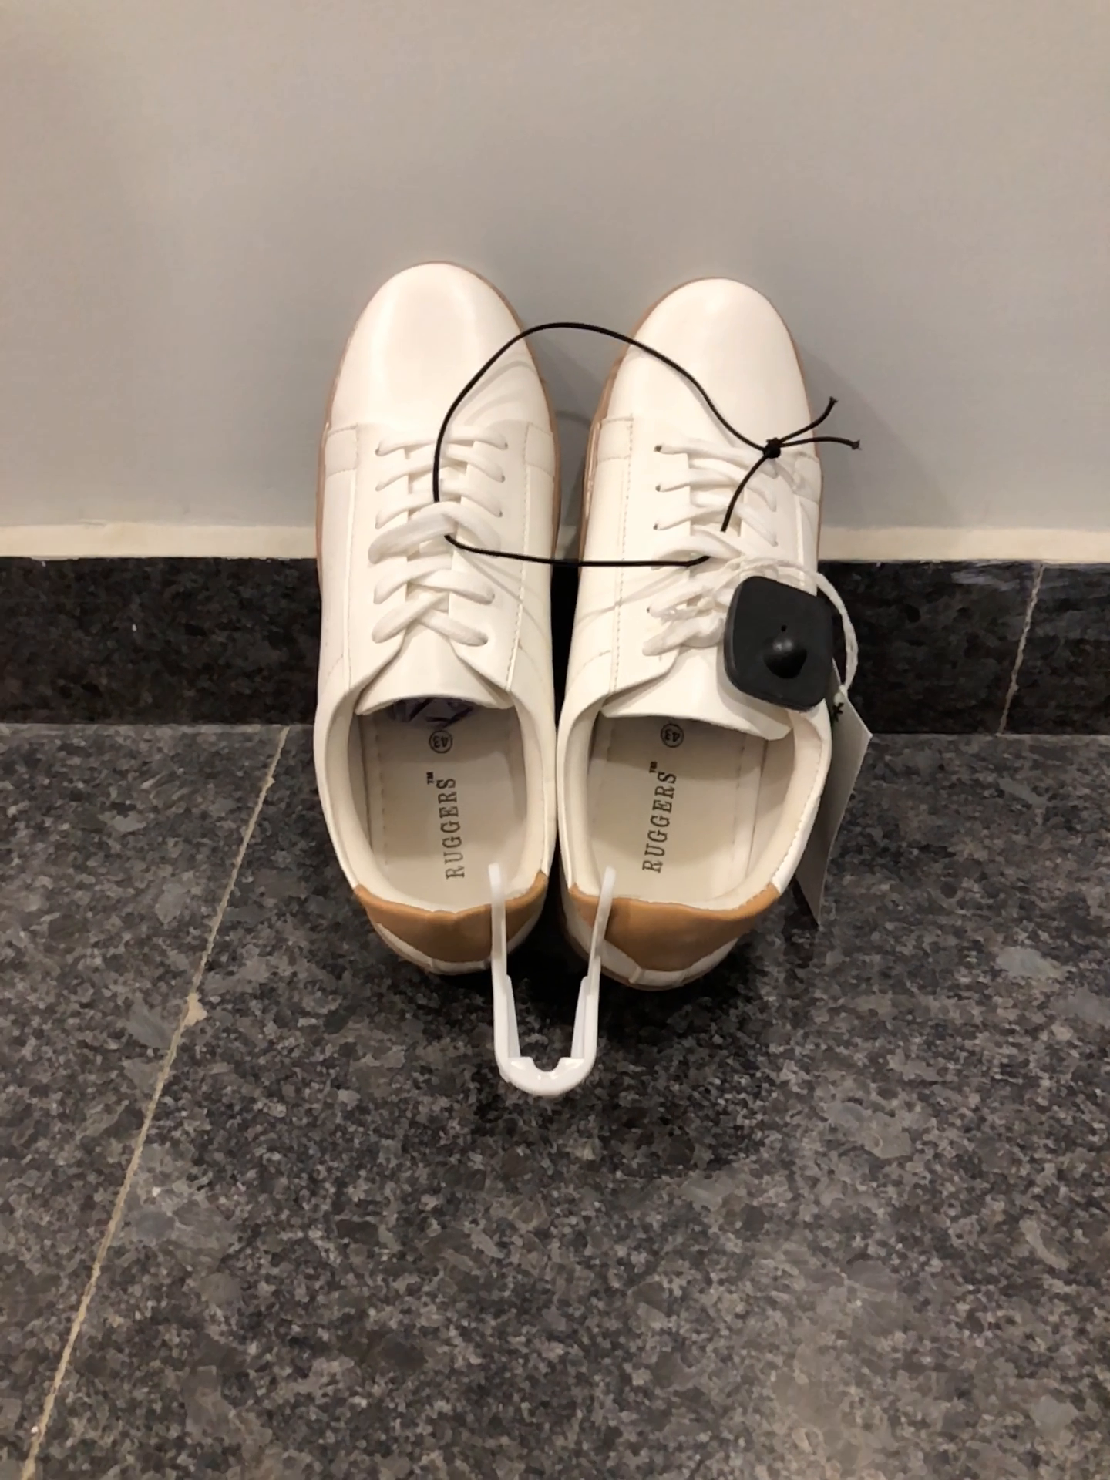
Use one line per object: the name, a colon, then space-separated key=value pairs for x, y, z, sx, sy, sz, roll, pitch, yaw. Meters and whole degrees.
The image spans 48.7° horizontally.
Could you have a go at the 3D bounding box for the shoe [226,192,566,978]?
shoe: x=-0.048 y=-0.055 z=0.448 sx=0.101 sy=0.087 sz=0.273 roll=0 pitch=74 yaw=1

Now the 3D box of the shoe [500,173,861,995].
shoe: x=0.044 y=-0.052 z=0.450 sx=0.107 sy=0.103 sz=0.275 roll=4 pitch=75 yaw=-2
